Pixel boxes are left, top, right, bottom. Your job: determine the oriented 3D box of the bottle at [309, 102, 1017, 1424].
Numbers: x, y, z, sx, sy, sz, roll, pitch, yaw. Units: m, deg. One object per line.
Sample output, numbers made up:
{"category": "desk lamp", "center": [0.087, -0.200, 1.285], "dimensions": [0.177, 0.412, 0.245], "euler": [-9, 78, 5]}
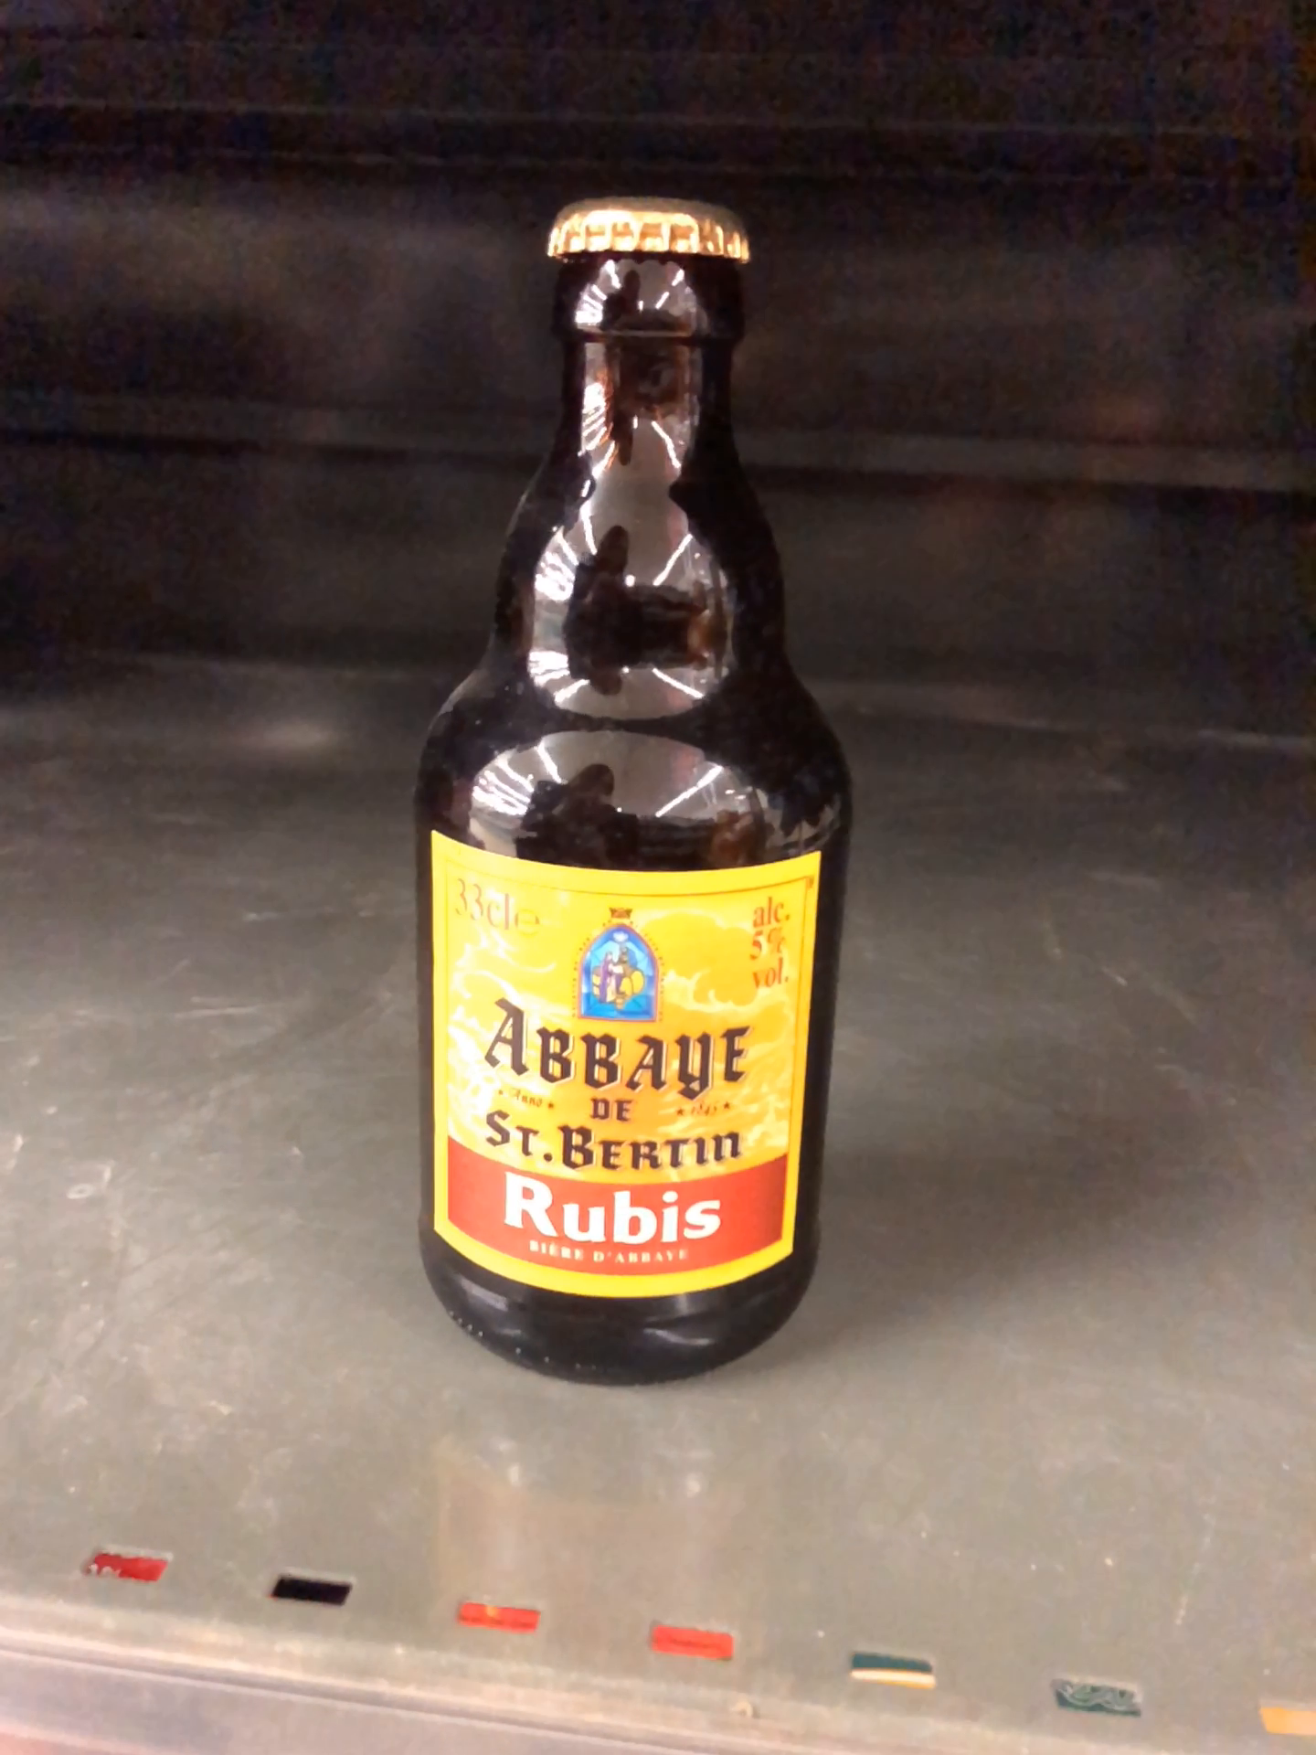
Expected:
{"category": "bottle", "center": [0.001, -0.016, 0.222], "dimensions": [0.080, 0.169, 0.070], "euler": [4, 17, 7]}
